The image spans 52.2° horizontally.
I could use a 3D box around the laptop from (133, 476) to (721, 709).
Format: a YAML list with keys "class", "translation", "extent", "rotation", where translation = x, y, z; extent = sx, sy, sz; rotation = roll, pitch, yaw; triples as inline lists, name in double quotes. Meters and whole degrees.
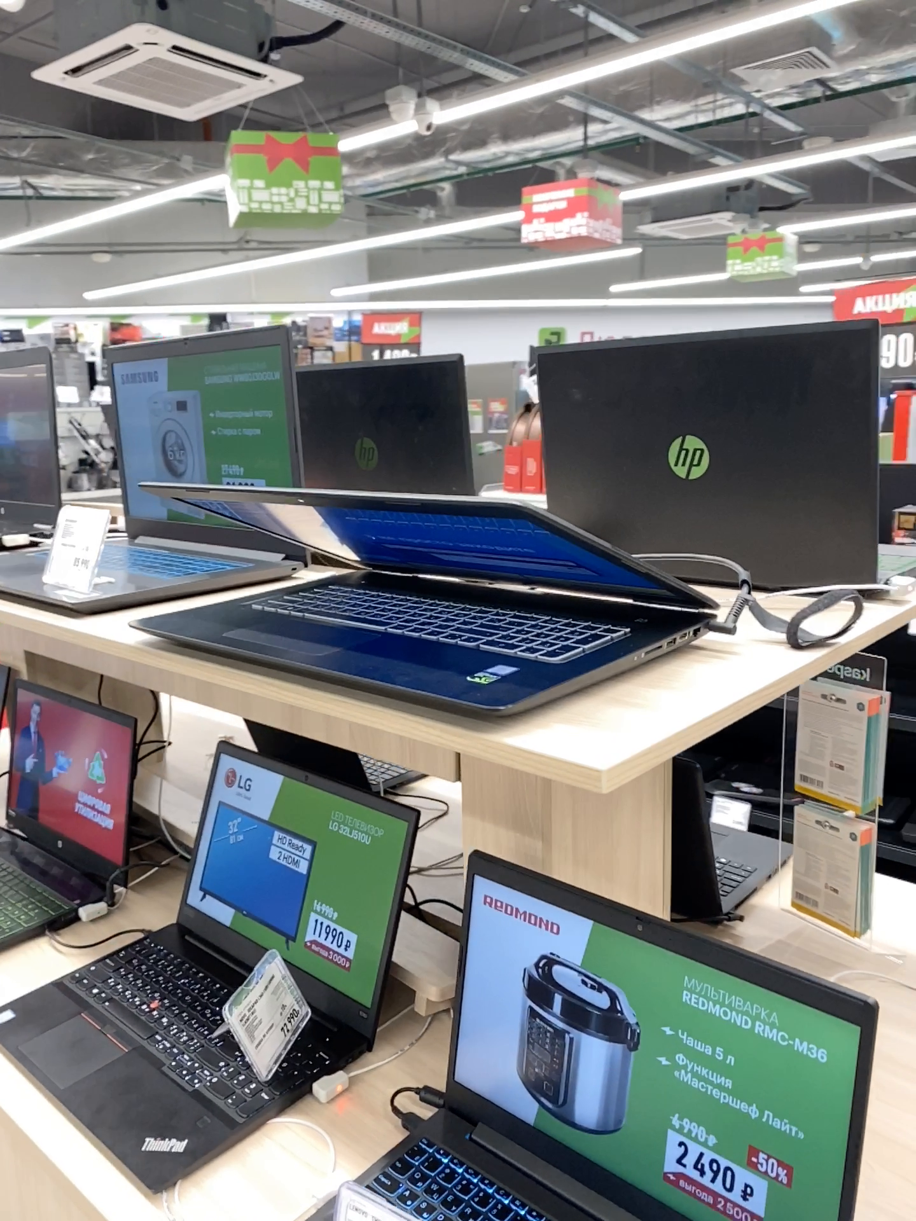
- class: "laptop"
  translation: [-0.035, -0.042, 0.742]
  extent: [0.397, 0.103, 0.263]
  rotation: [8, 16, 41]
